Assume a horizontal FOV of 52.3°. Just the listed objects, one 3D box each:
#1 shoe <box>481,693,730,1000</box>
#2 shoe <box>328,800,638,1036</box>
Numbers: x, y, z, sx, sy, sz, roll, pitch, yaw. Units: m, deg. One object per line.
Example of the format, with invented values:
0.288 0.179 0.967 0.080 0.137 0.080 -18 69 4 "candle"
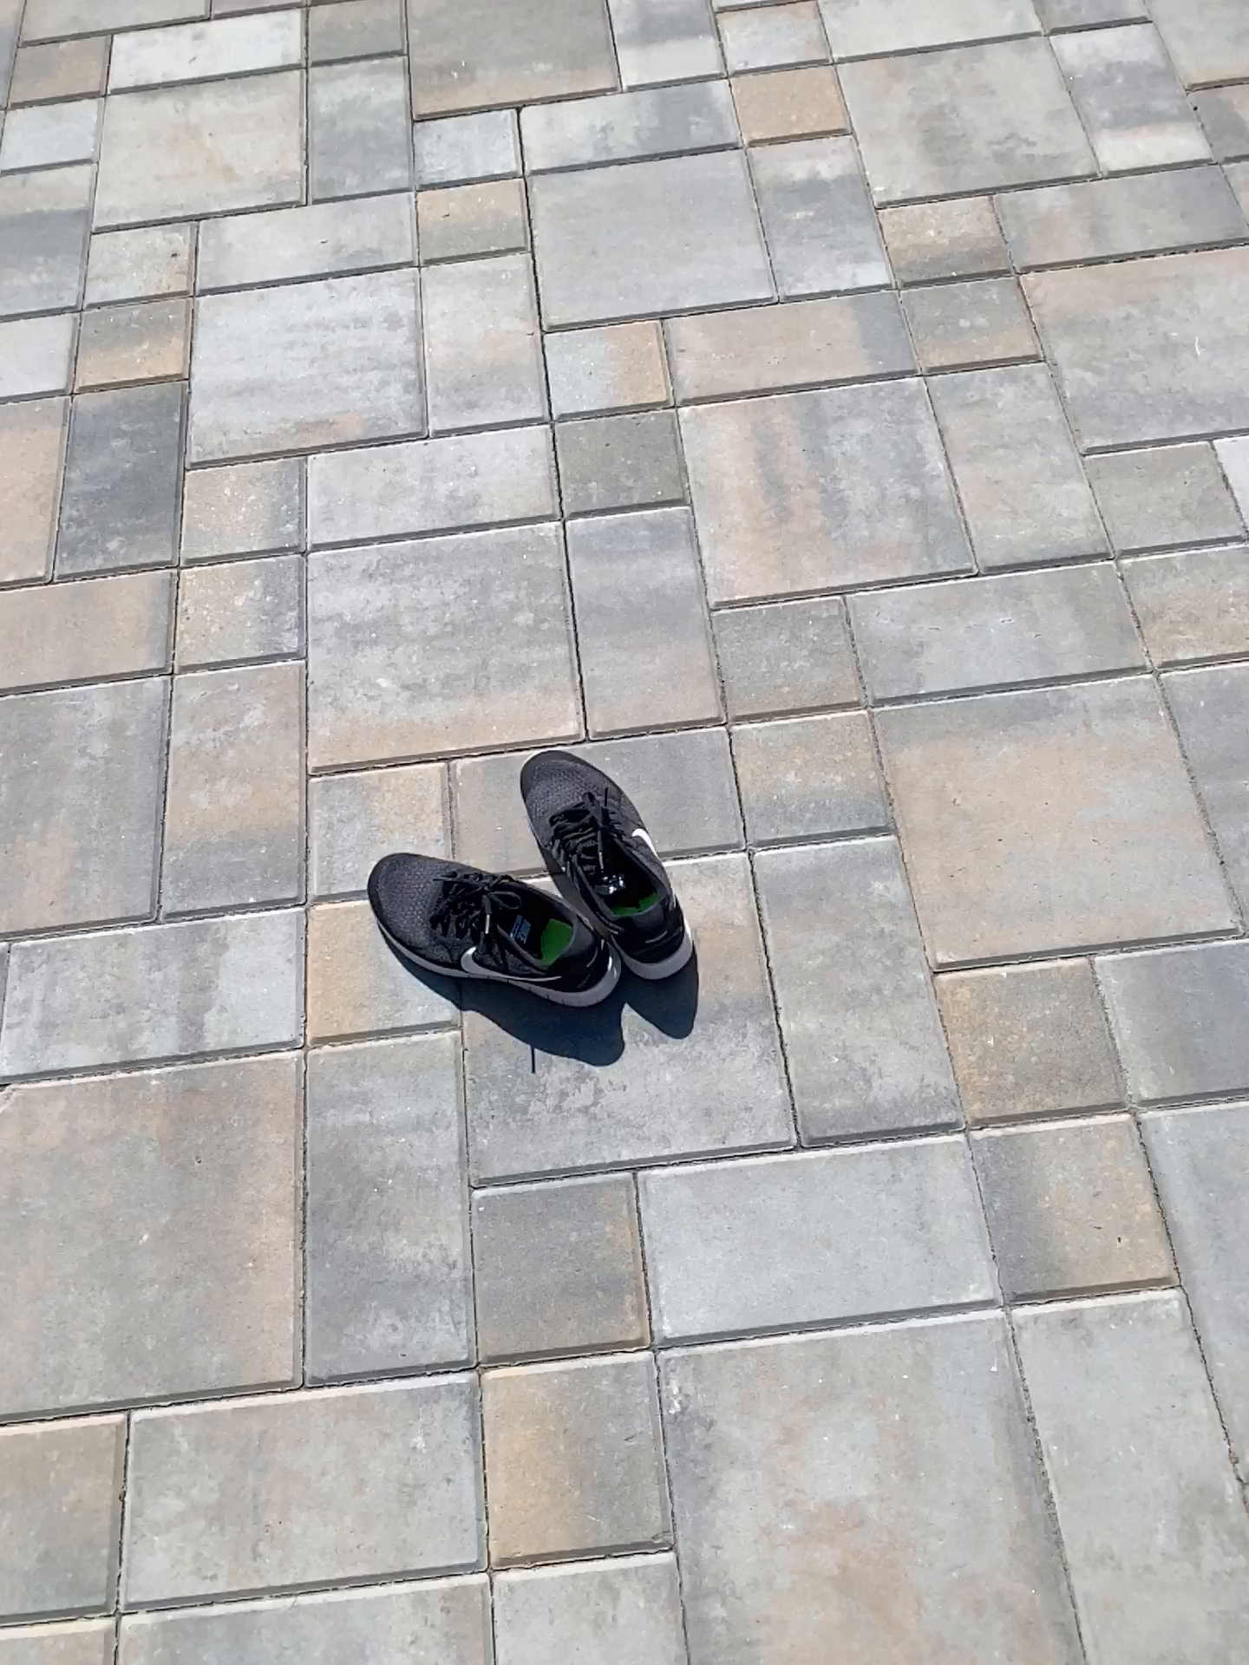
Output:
-0.019 0.011 1.190 0.110 0.100 0.251 -30 66 -11 "shoe"
-0.126 0.079 1.183 0.250 0.110 0.110 19 67 12 "shoe"
